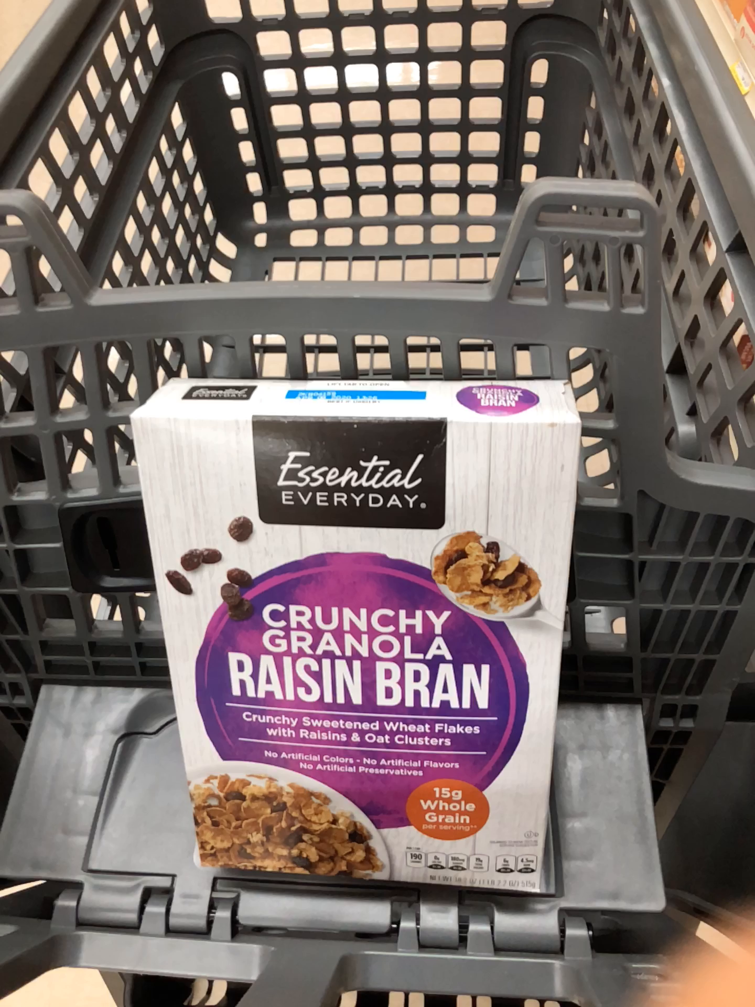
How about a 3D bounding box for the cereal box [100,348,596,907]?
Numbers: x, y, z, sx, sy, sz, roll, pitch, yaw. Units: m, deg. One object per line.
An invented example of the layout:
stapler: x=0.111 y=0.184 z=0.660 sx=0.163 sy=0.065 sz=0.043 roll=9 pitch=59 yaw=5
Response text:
cereal box: x=-0.009 y=0.069 z=0.422 sx=0.200 sy=0.280 sz=0.070 roll=2 pitch=25 yaw=6
